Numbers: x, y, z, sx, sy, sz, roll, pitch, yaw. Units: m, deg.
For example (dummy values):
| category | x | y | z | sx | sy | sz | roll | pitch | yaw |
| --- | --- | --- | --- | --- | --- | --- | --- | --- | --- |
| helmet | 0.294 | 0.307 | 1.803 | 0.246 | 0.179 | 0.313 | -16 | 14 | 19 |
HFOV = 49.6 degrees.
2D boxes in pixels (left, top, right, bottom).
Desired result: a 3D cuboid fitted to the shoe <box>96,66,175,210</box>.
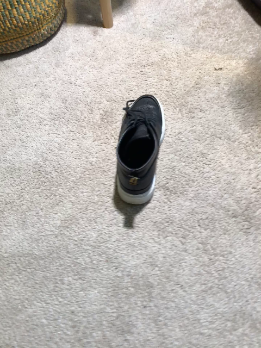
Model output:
| category | x | y | z | sx | sy | sz | roll | pitch | yaw |
| --- | --- | --- | --- | --- | --- | --- | --- | --- | --- |
| shoe | 0.021 | -0.076 | 0.564 | 0.107 | 0.111 | 0.263 | 6 | 64 | 9 |
